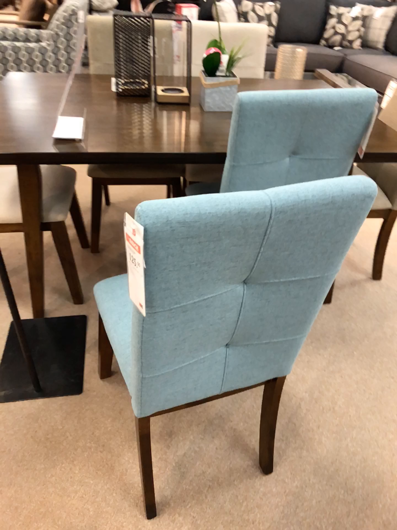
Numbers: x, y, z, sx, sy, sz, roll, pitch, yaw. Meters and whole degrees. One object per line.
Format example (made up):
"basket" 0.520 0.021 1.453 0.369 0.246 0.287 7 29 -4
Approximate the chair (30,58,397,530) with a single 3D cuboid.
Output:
"chair" -0.054 0.076 1.136 0.540 0.993 0.624 -10 40 -18
